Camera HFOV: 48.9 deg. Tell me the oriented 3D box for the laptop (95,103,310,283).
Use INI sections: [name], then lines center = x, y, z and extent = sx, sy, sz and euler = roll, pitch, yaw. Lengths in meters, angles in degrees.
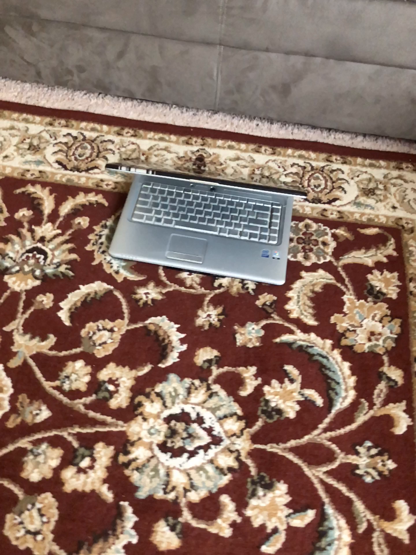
[laptop]
center = 0.001, -0.162, 0.872
extent = 0.342, 0.164, 0.244
euler = 9, 57, 3
